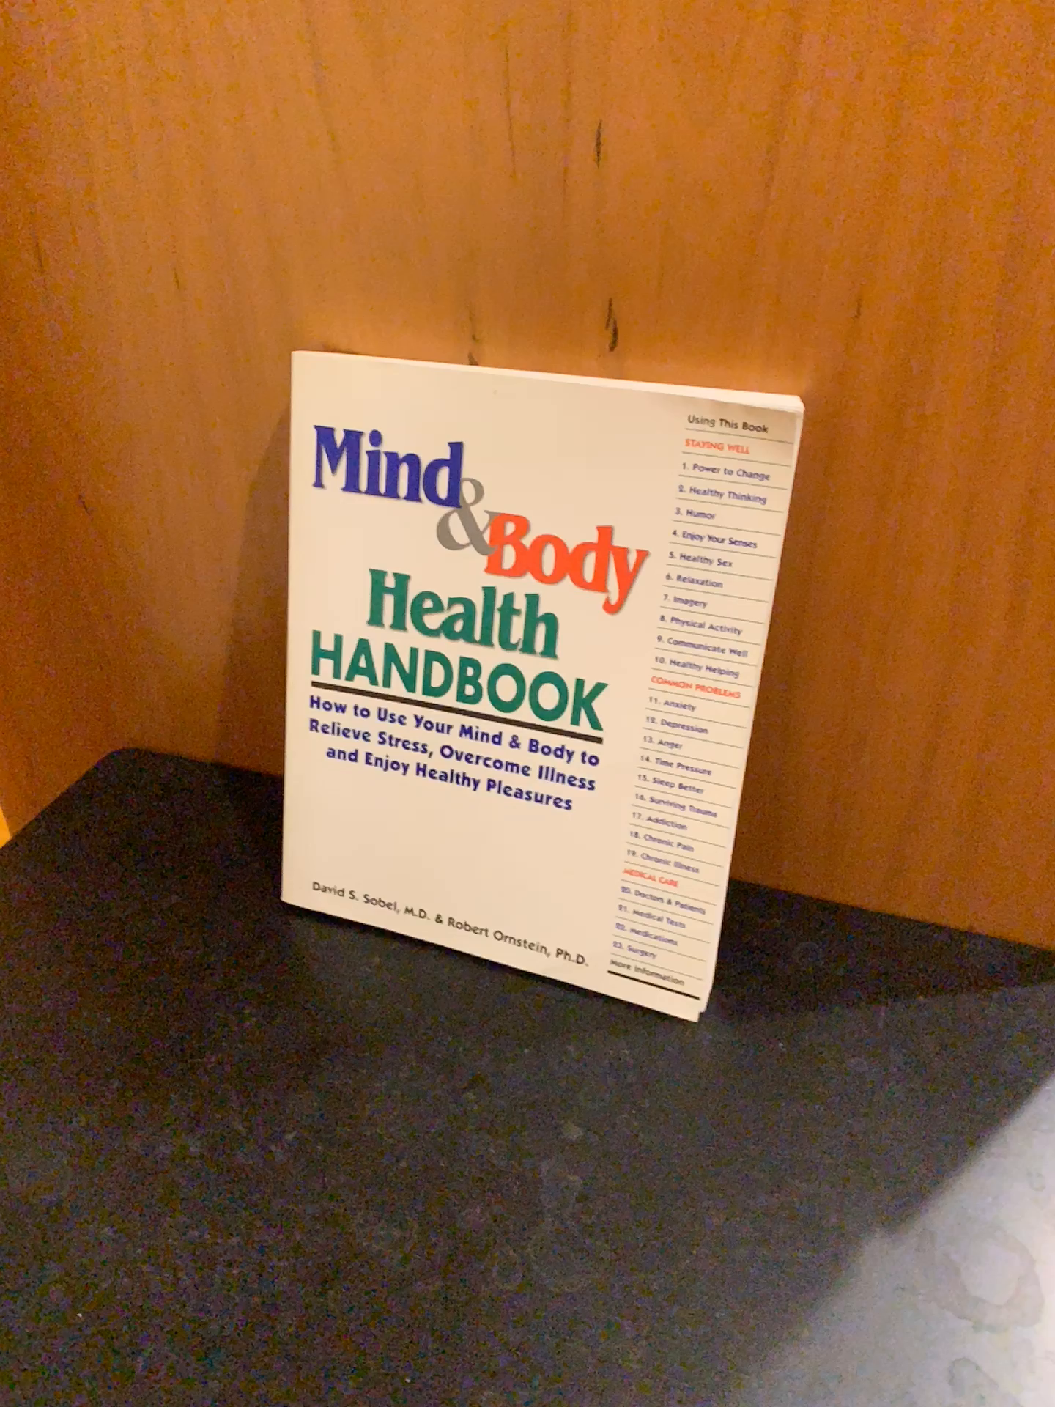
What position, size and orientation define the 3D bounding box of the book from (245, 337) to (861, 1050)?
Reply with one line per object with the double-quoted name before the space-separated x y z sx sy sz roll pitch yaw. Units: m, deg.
"book" -0.004 -0.009 0.412 0.210 0.229 0.040 12 17 18
